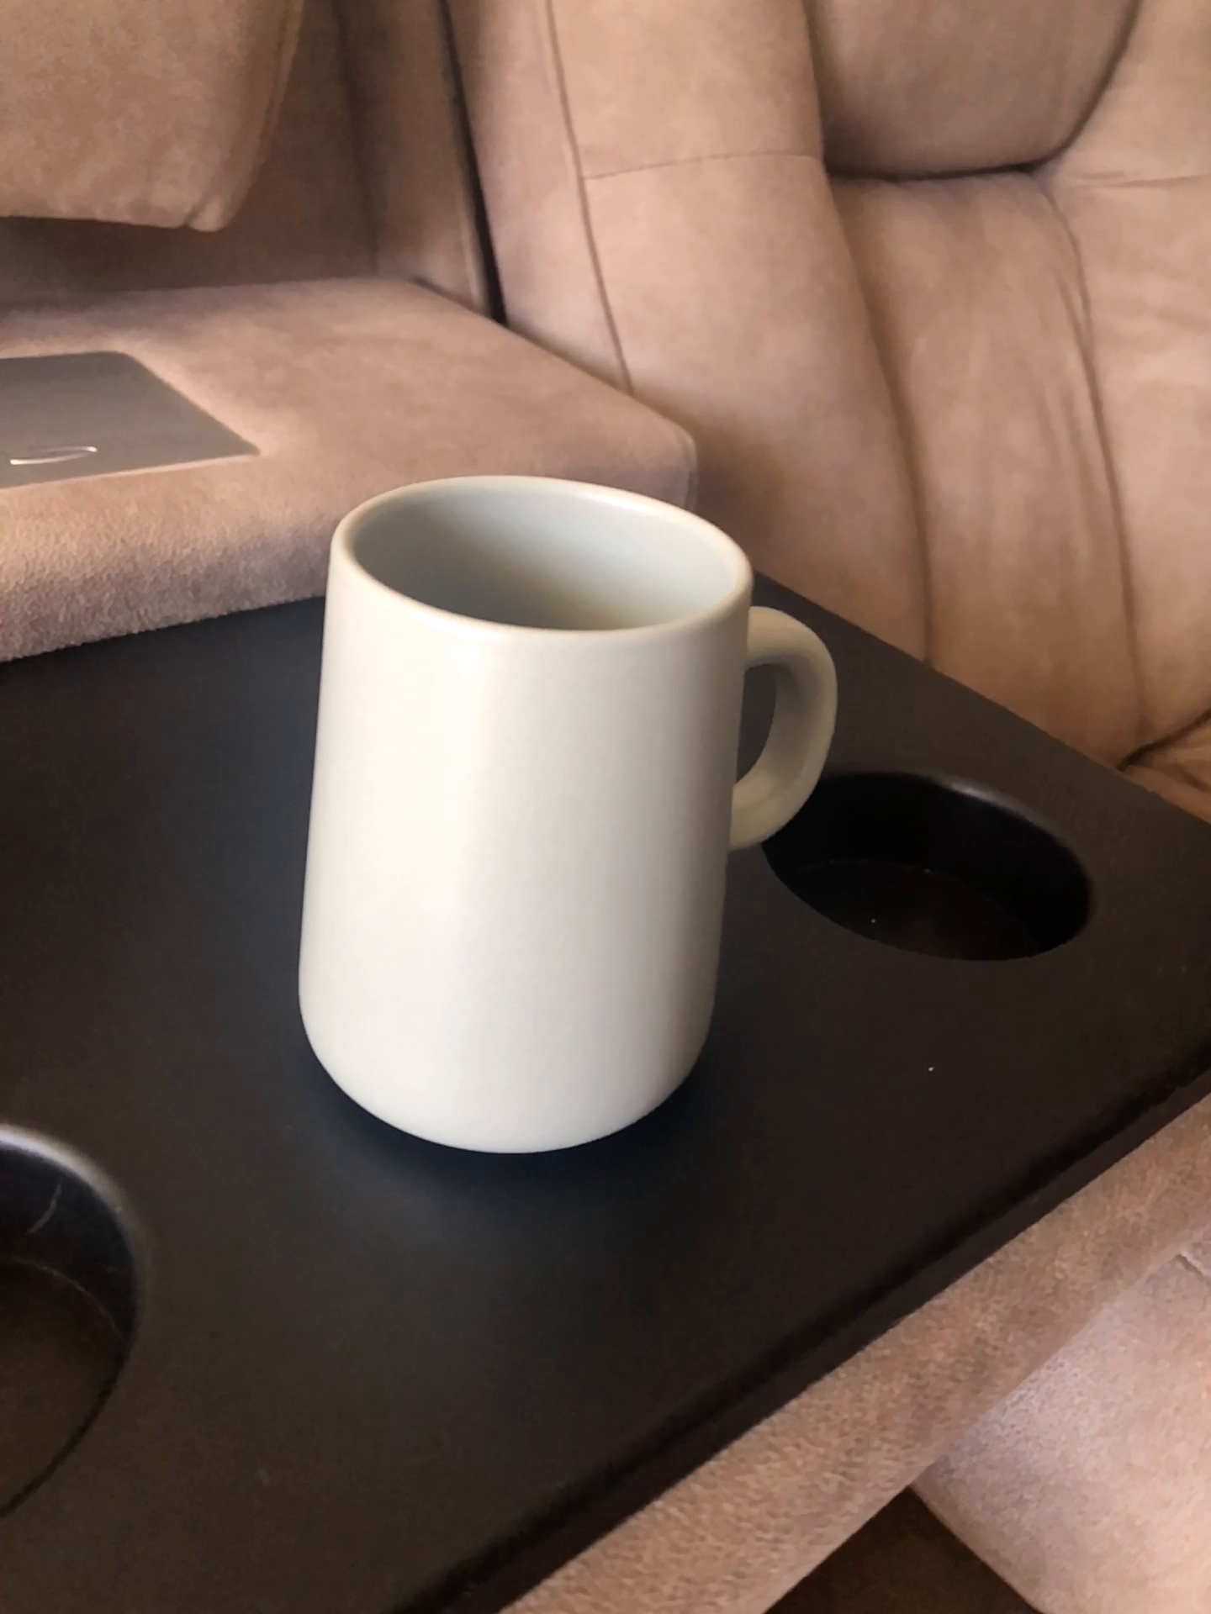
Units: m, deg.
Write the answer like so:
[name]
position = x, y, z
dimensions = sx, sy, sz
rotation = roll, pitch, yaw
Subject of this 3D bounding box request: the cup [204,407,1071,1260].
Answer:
[cup]
position = 0.001, -0.004, 0.282
dimensions = 0.137, 0.121, 0.087
rotation = -16, 41, -31
